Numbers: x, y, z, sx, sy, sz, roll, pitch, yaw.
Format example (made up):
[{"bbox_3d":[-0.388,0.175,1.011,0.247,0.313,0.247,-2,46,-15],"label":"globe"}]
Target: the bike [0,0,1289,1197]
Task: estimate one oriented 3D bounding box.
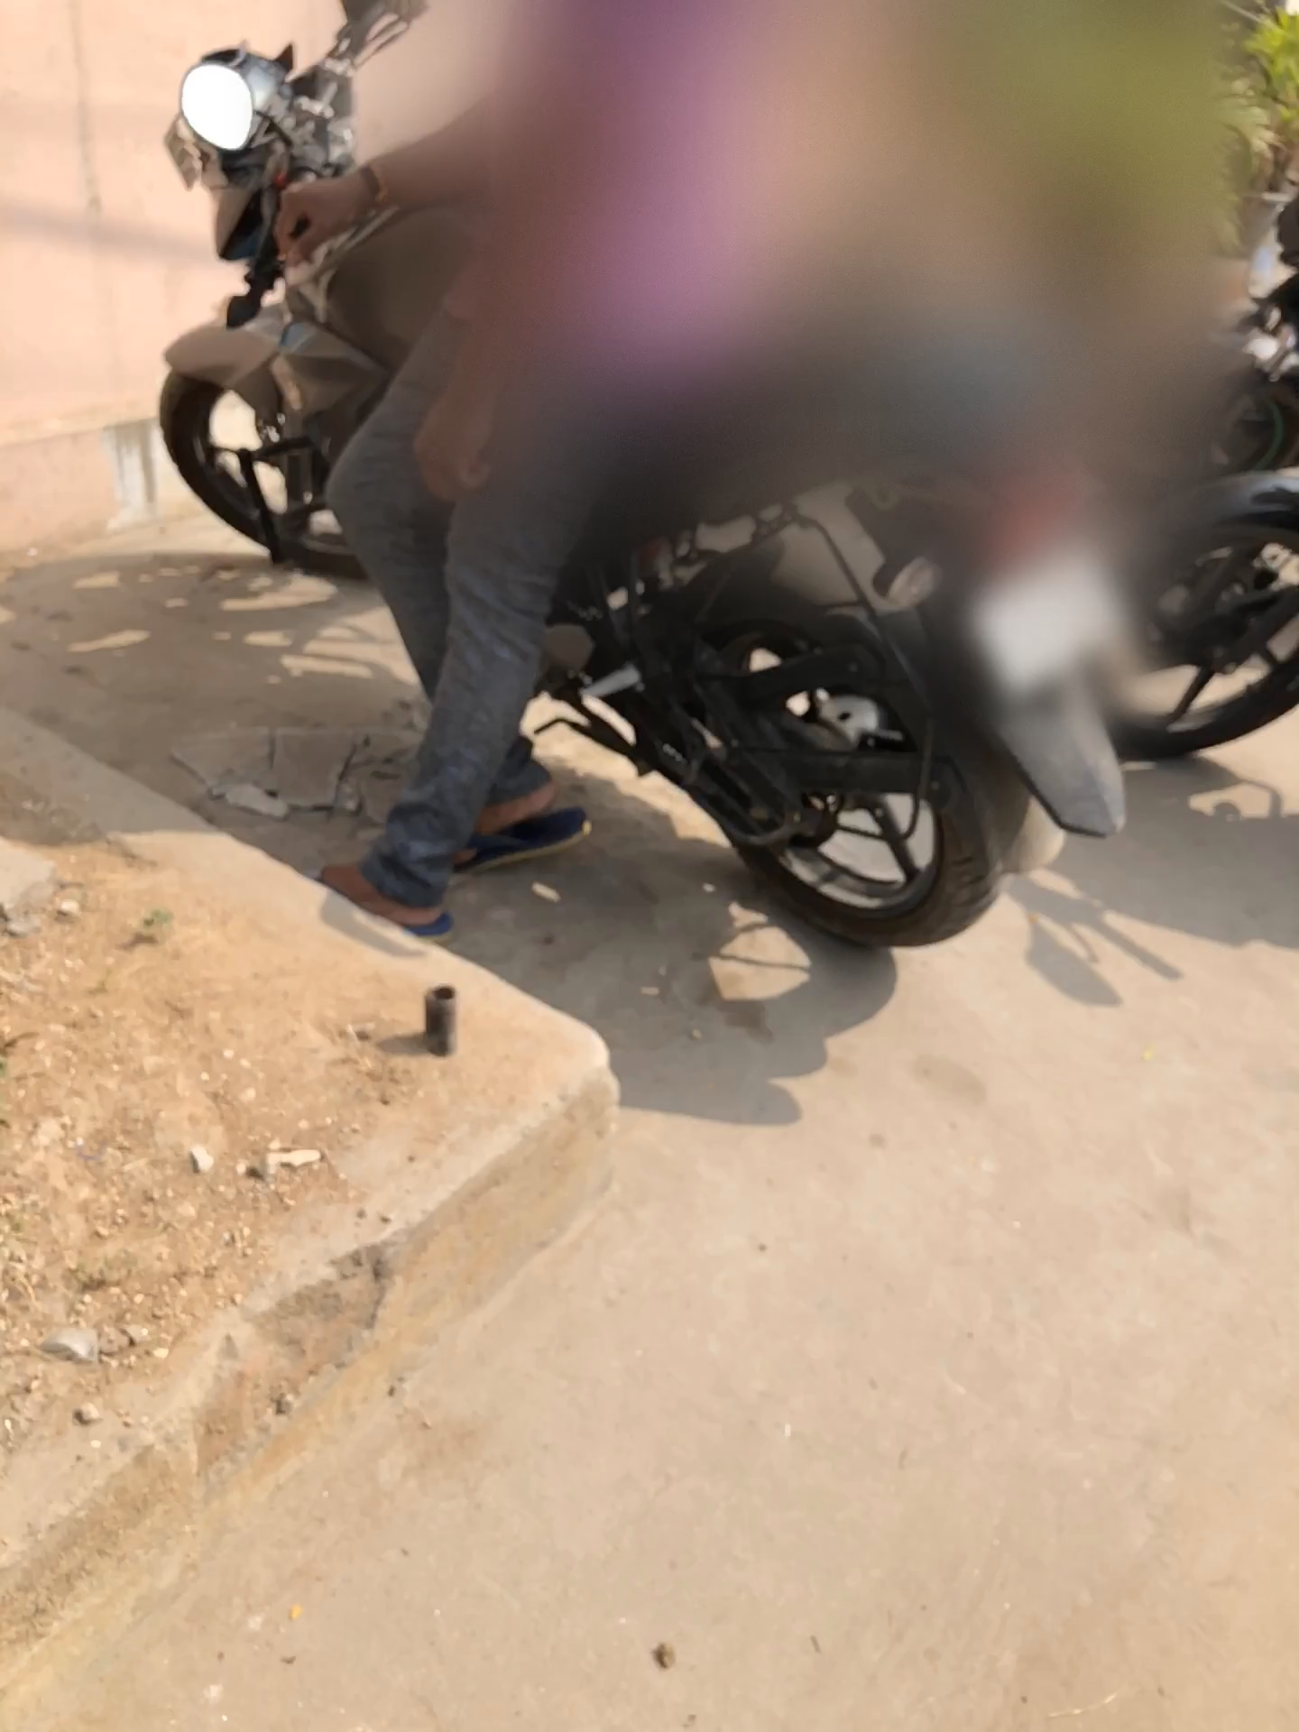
[{"bbox_3d":[-0.351,-0.730,1.968,1.825,1.222,0.813,31,39,29],"label":"bike"}]
